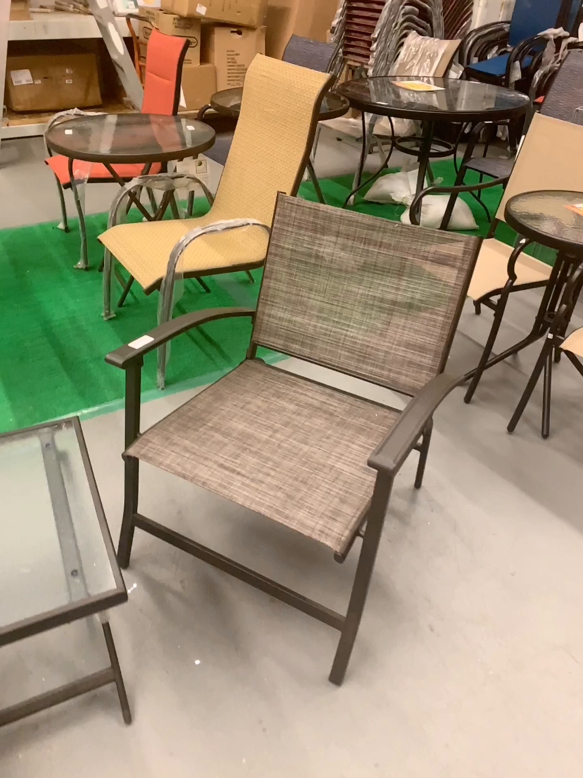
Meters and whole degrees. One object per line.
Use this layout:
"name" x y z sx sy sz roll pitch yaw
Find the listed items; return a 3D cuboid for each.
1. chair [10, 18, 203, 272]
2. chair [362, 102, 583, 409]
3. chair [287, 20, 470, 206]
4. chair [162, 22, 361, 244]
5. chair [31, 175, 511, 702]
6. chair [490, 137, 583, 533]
"chair" -0.874 -1.196 2.884 0.669 0.957 0.677 -14 40 -25
"chair" 0.737 -0.508 2.130 0.629 0.837 0.576 -18 42 -29
"chair" 0.558 -1.926 4.108 0.869 0.997 0.697 -16 41 -28
"chair" -0.203 -1.467 3.352 0.769 0.957 0.737 -18 42 -29
"chair" 0.009 0.045 1.412 0.675 0.778 0.772 19 39 20
"chair" 1.104 -0.189 1.716 0.630 0.847 0.556 -24 44 -34
